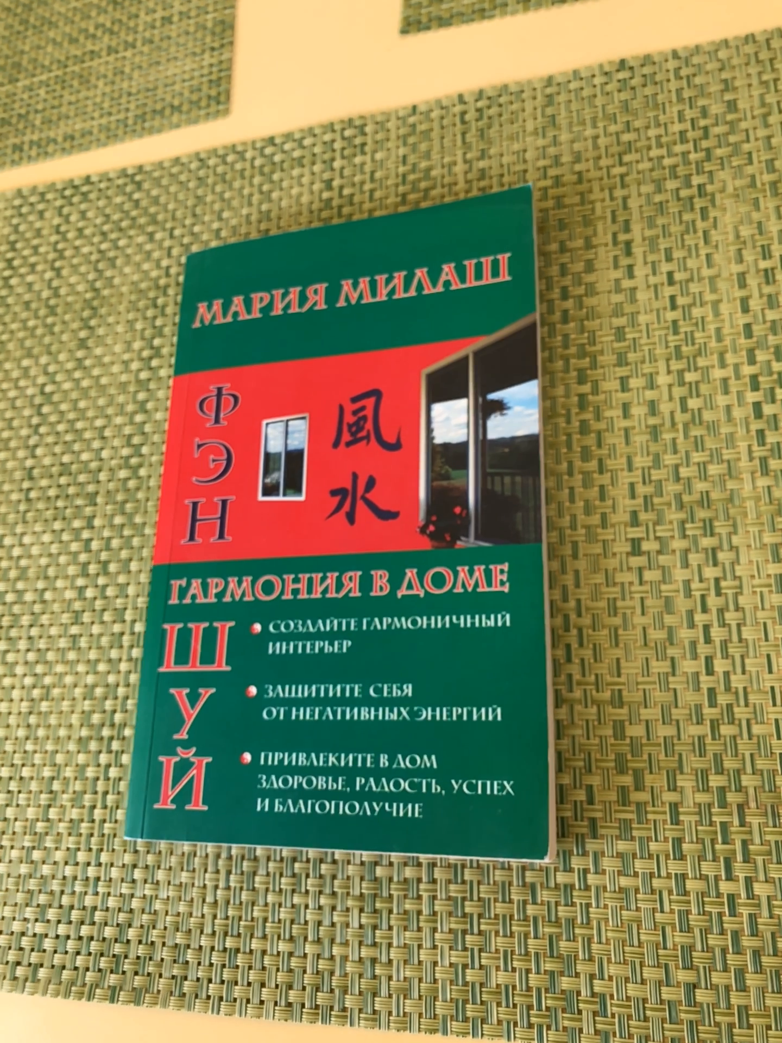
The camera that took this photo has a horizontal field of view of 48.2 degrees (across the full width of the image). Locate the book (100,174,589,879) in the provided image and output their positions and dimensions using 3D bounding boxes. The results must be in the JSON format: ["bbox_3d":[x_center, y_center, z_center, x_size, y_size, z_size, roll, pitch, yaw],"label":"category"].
[{"bbox_3d":[-0.014,-0.003,0.269,0.137,0.020,0.200,-4,72,19],"label":"book"}]
